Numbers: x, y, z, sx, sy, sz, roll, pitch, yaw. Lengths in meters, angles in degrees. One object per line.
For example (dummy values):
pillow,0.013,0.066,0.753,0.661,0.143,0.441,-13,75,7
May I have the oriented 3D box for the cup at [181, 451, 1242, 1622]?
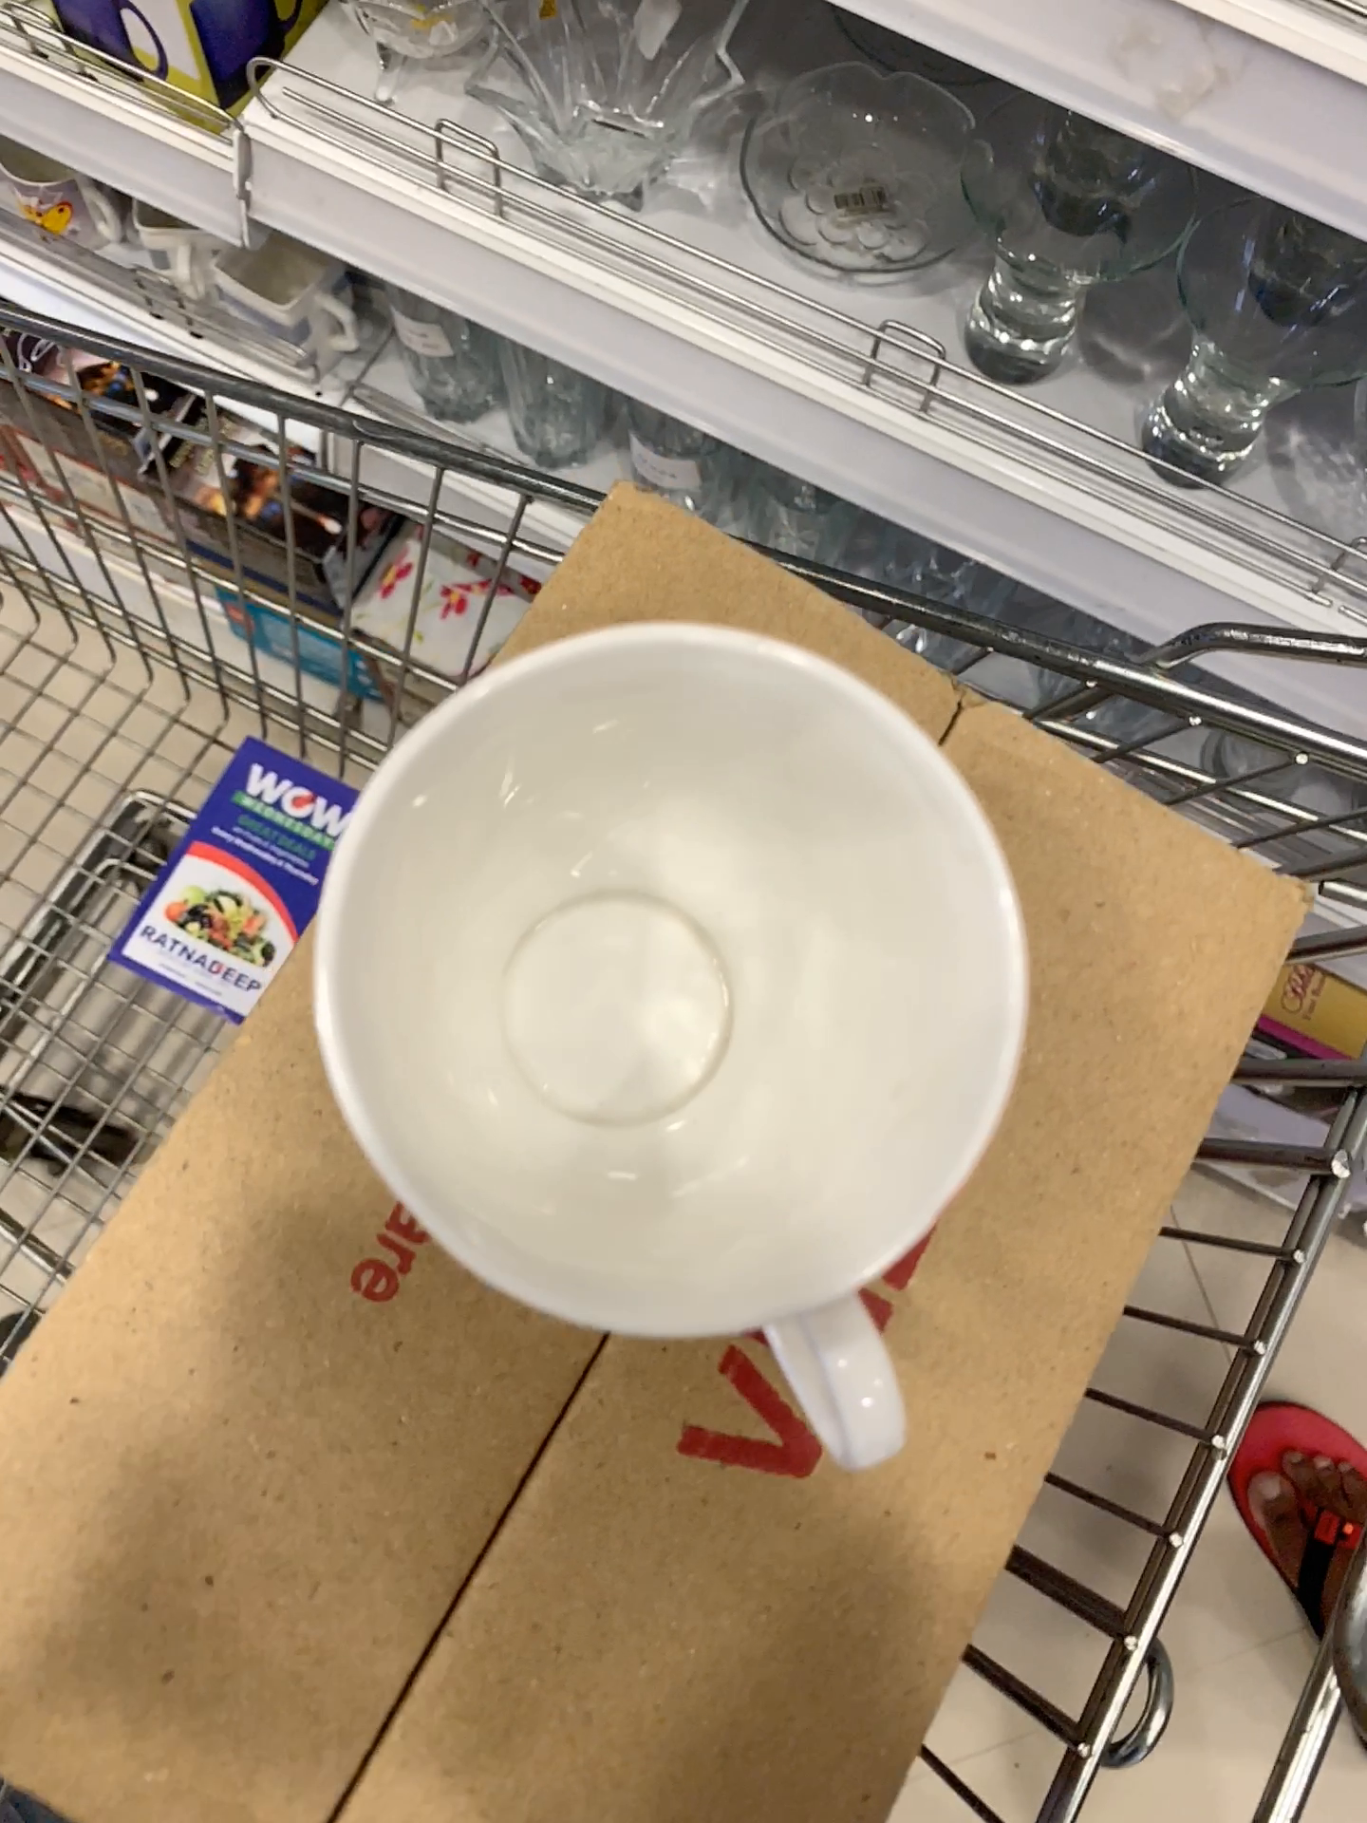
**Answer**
cup,0.000,0.013,0.176,0.080,0.060,0.100,-20,82,-8
